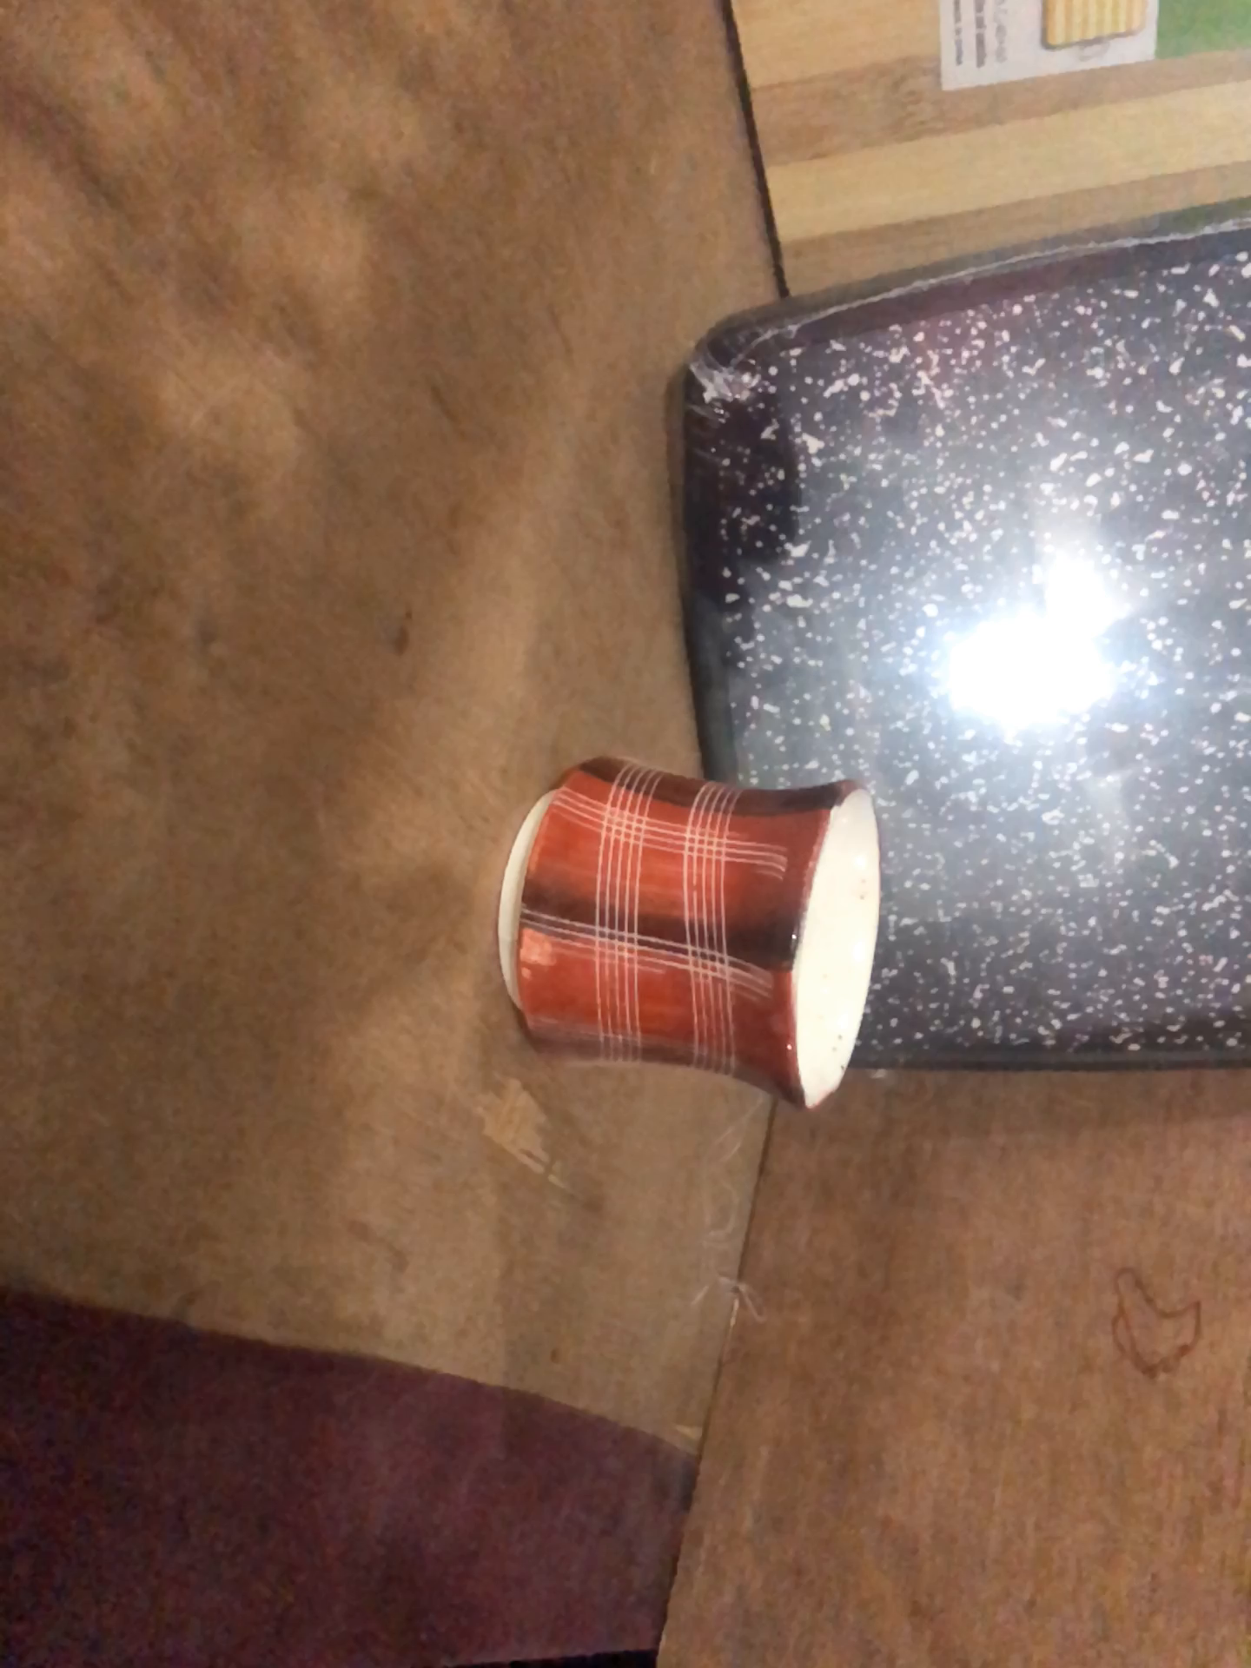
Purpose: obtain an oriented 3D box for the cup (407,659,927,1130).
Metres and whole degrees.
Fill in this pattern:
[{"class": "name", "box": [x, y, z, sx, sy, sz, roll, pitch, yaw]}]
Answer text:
[{"class": "cup", "box": [0.014, 0.015, 0.261, 0.091, 0.060, 0.060, 40, 60, -63]}]
